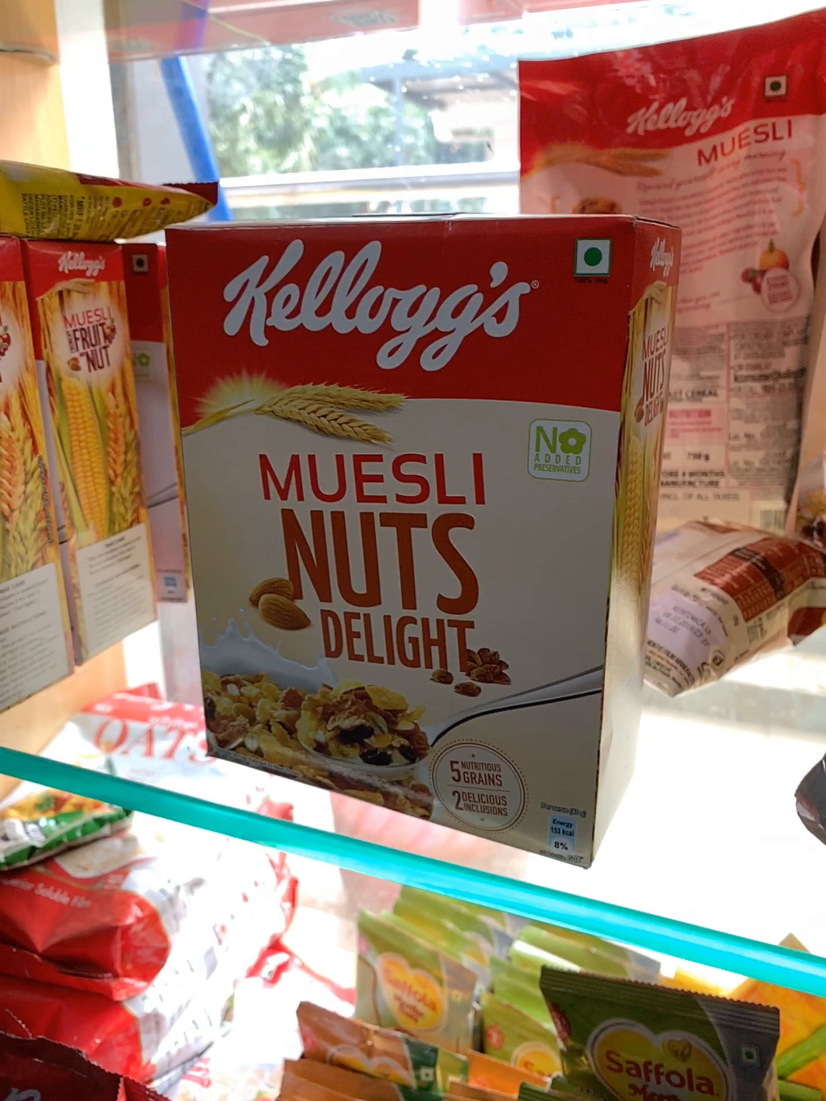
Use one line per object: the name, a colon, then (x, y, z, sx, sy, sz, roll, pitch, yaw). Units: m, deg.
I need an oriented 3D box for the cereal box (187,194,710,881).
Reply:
cereal box: (0.007, -0.009, 0.254, 0.130, 0.169, 0.050, 9, 19, 27)
